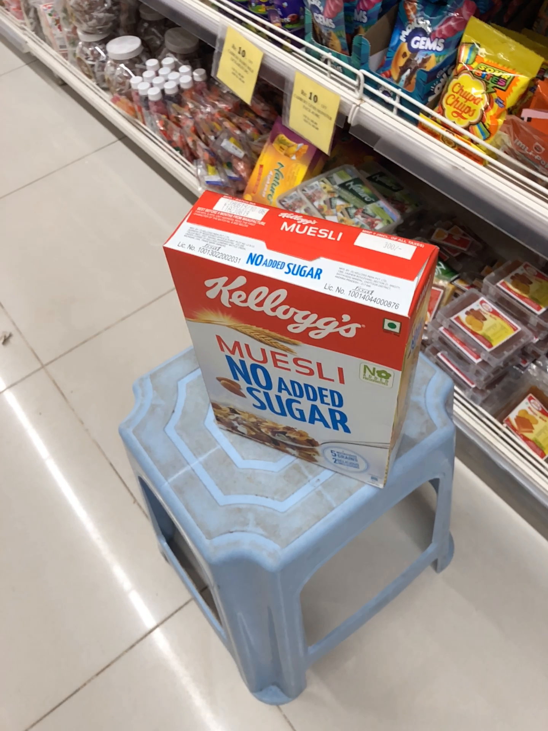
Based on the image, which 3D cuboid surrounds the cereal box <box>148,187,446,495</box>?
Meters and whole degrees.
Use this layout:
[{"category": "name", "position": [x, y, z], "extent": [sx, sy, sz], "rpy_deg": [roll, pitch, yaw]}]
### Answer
[{"category": "cereal box", "position": [0.023, -0.006, 0.518], "extent": [0.190, 0.259, 0.070], "rpy_deg": [18, 58, 17]}]
